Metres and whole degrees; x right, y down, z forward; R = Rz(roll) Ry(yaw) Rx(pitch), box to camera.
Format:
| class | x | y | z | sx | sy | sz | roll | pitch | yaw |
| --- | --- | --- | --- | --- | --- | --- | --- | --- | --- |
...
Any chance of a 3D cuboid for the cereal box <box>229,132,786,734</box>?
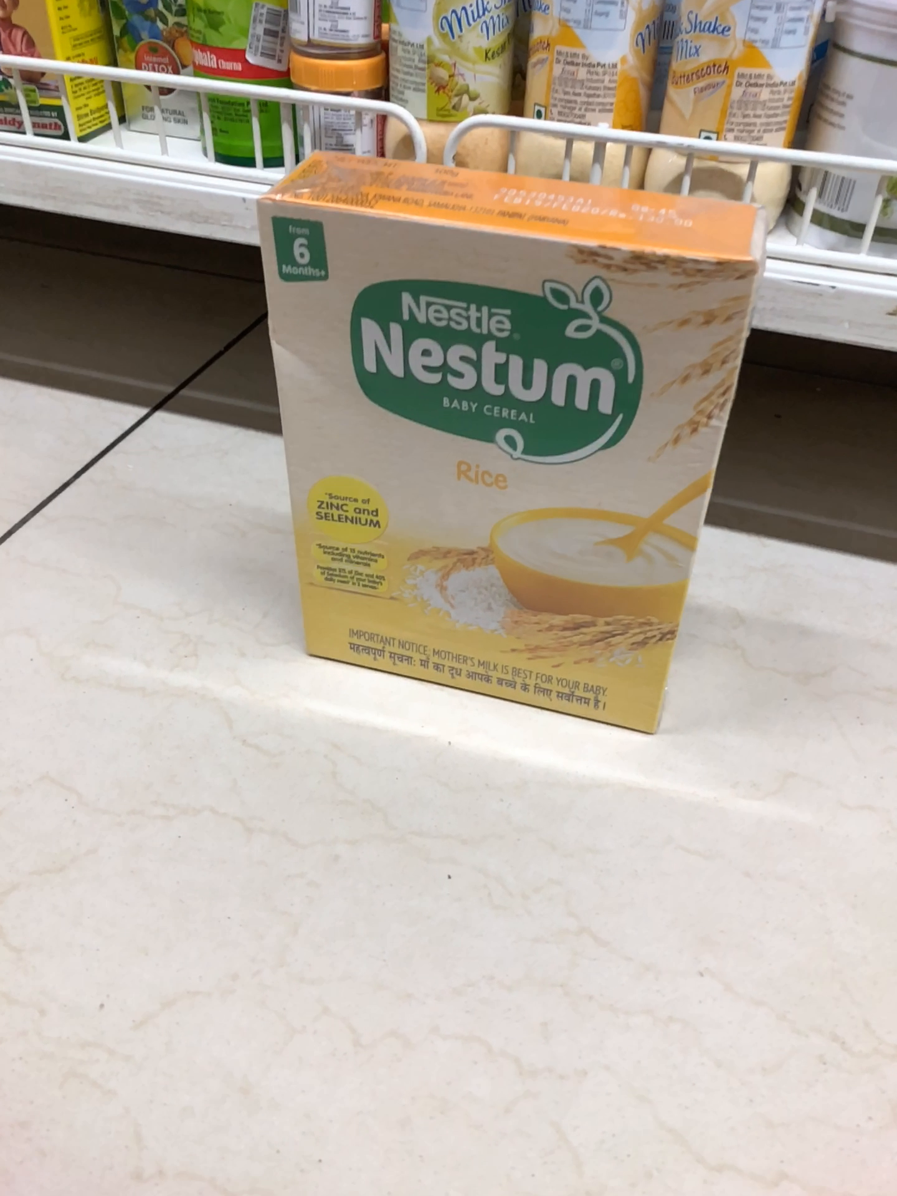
| class | x | y | z | sx | sy | sz | roll | pitch | yaw |
| --- | --- | --- | --- | --- | --- | --- | --- | --- | --- |
| cereal box | 0.016 | -0.052 | 0.357 | 0.160 | 0.189 | 0.050 | 12 | 40 | 12 |
